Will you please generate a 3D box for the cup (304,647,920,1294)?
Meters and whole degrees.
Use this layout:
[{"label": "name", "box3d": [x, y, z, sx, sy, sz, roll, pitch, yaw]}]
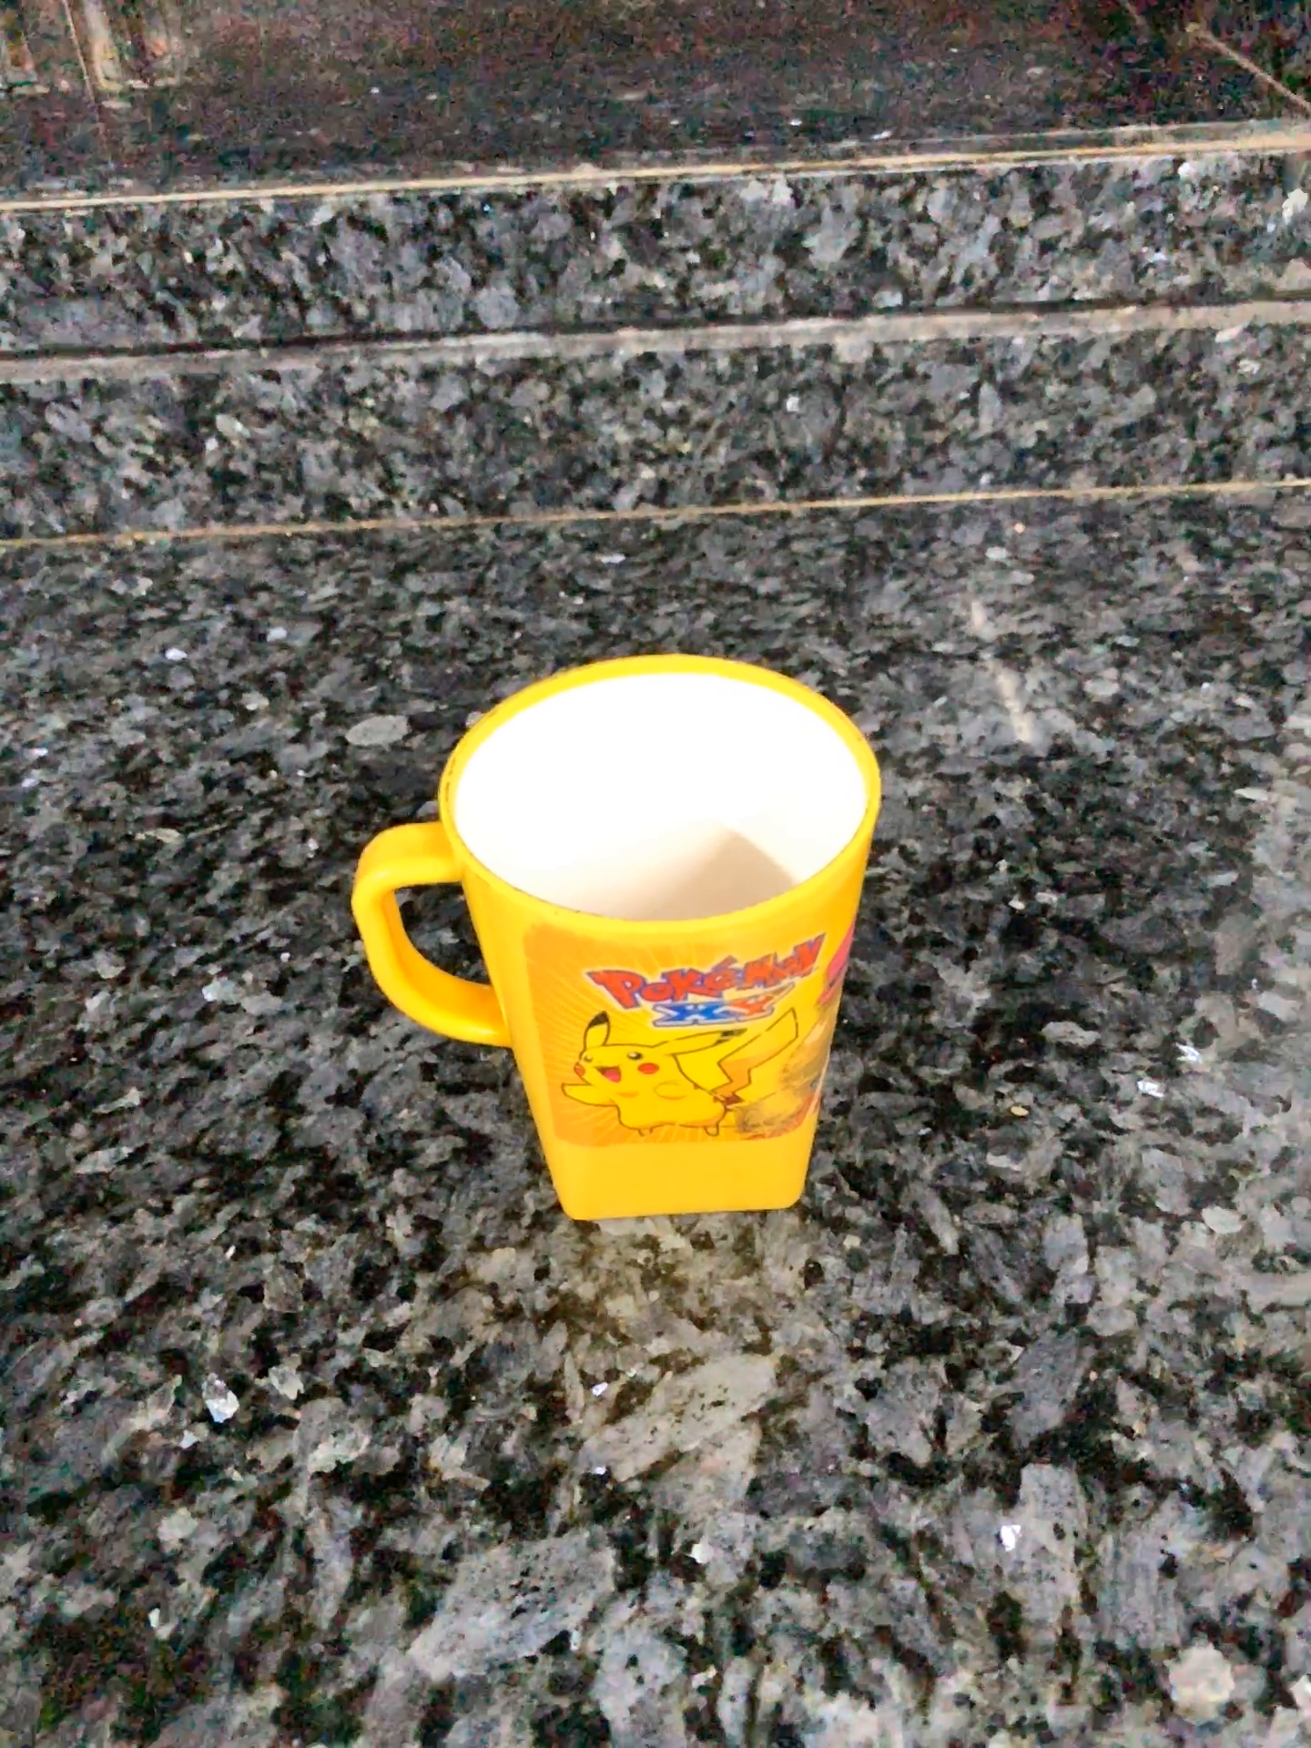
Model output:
[{"label": "cup", "box3d": [-0.008, 0.022, 0.283, 0.100, 0.109, 0.071, -5, 42, -2]}]
